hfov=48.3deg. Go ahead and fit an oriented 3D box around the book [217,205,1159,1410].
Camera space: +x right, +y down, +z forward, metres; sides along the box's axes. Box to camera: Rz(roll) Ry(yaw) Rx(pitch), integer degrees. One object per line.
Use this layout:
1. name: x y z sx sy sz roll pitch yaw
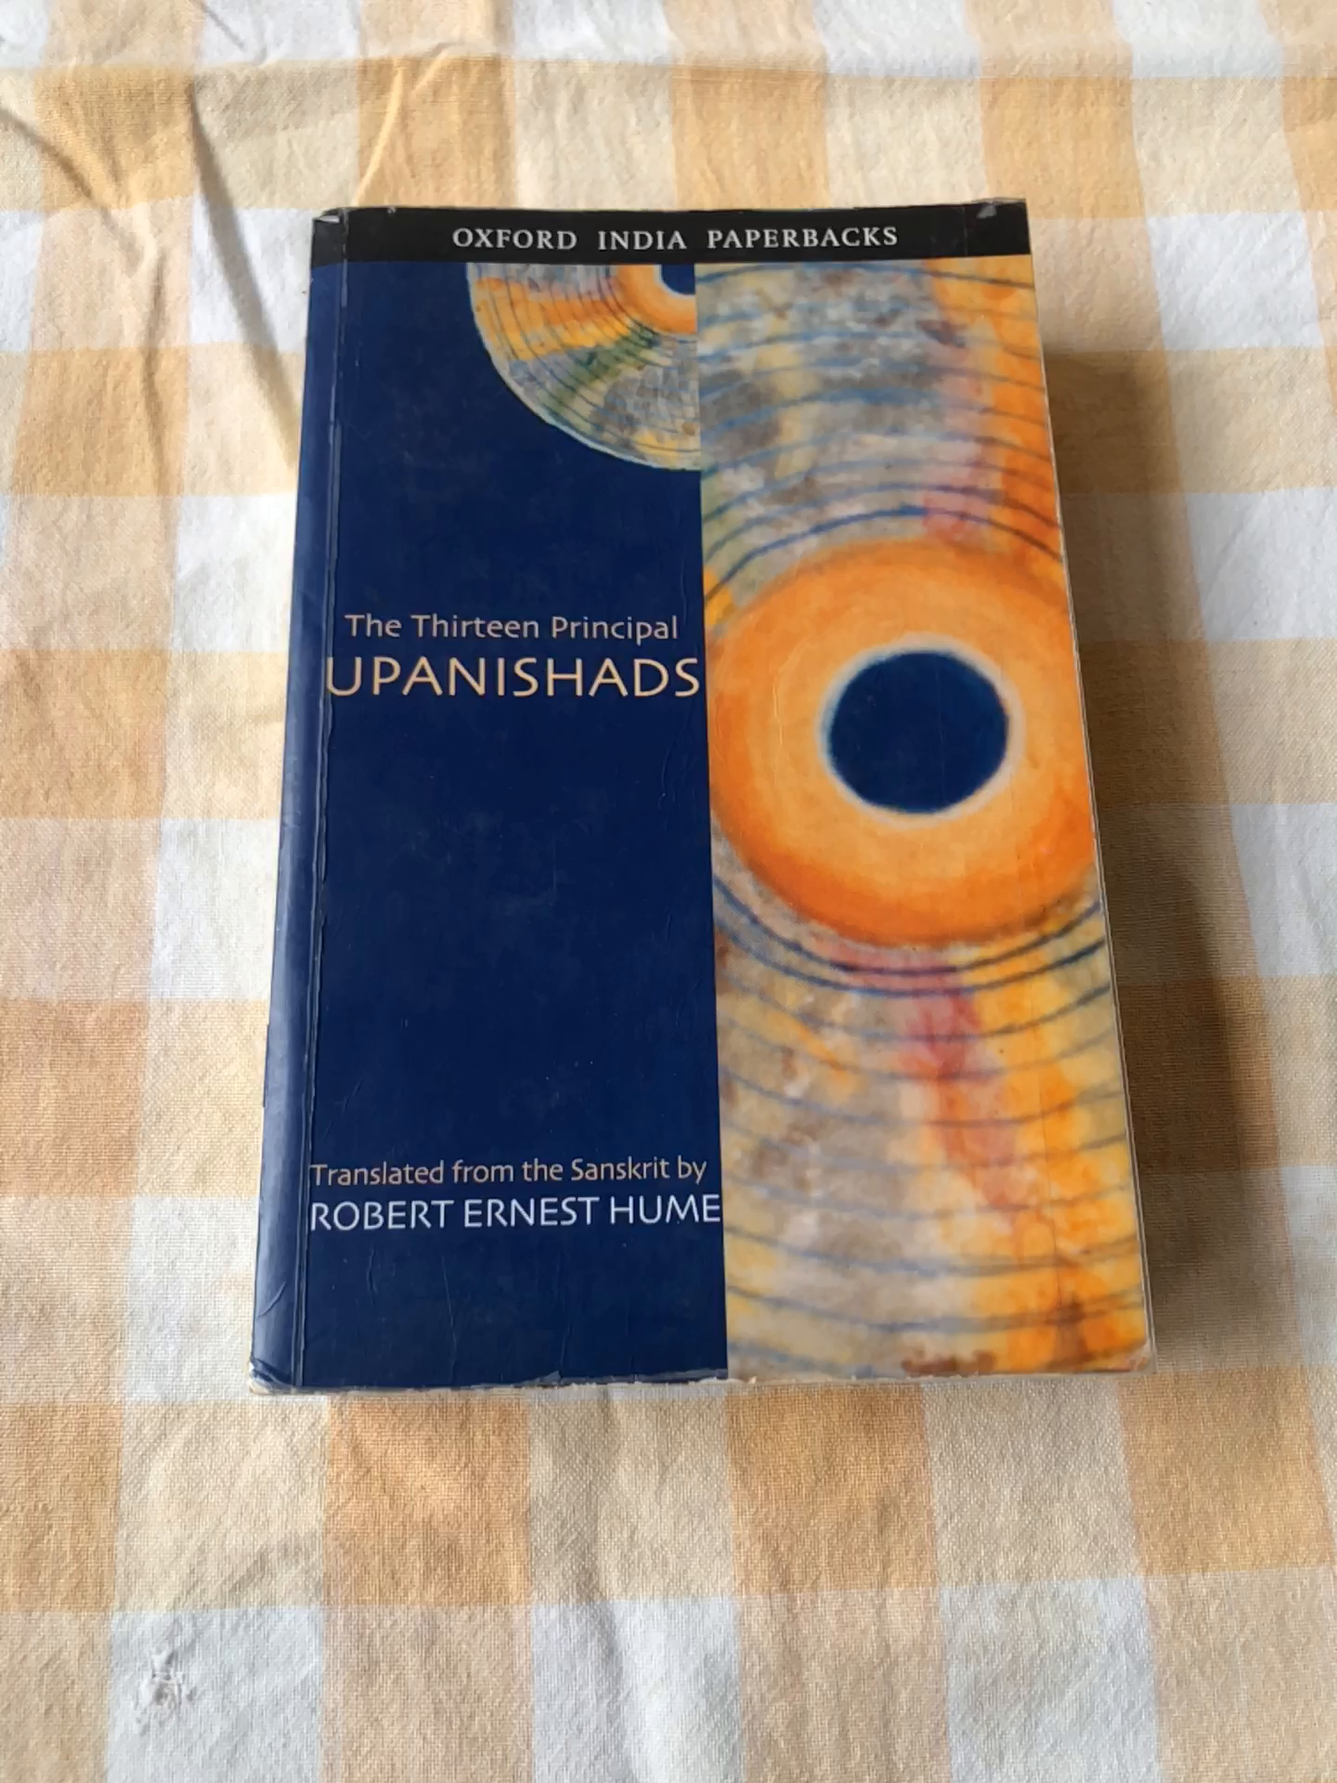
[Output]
1. book: 0.000 -0.021 0.269 0.140 0.040 0.210 -1 74 -3
